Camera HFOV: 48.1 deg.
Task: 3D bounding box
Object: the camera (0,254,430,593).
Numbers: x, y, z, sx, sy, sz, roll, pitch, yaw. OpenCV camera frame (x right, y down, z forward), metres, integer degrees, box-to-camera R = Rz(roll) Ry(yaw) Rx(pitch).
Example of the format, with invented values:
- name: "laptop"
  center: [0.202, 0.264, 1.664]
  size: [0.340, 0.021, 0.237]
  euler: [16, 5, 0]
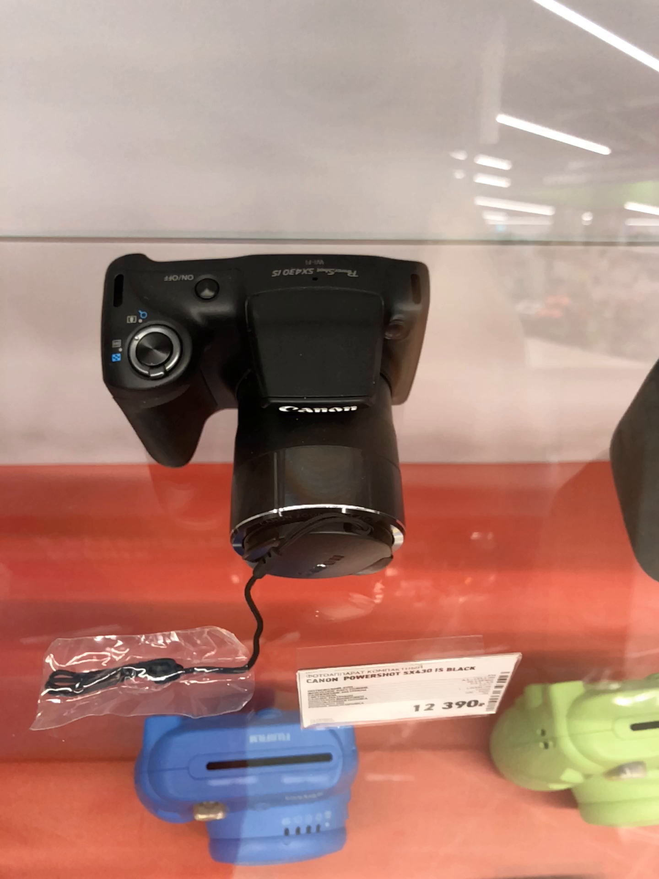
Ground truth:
- name: "camera"
  center: [-0.032, -0.001, 0.247]
  size: [0.113, 0.080, 0.085]
  euler: [0, 63, -2]
